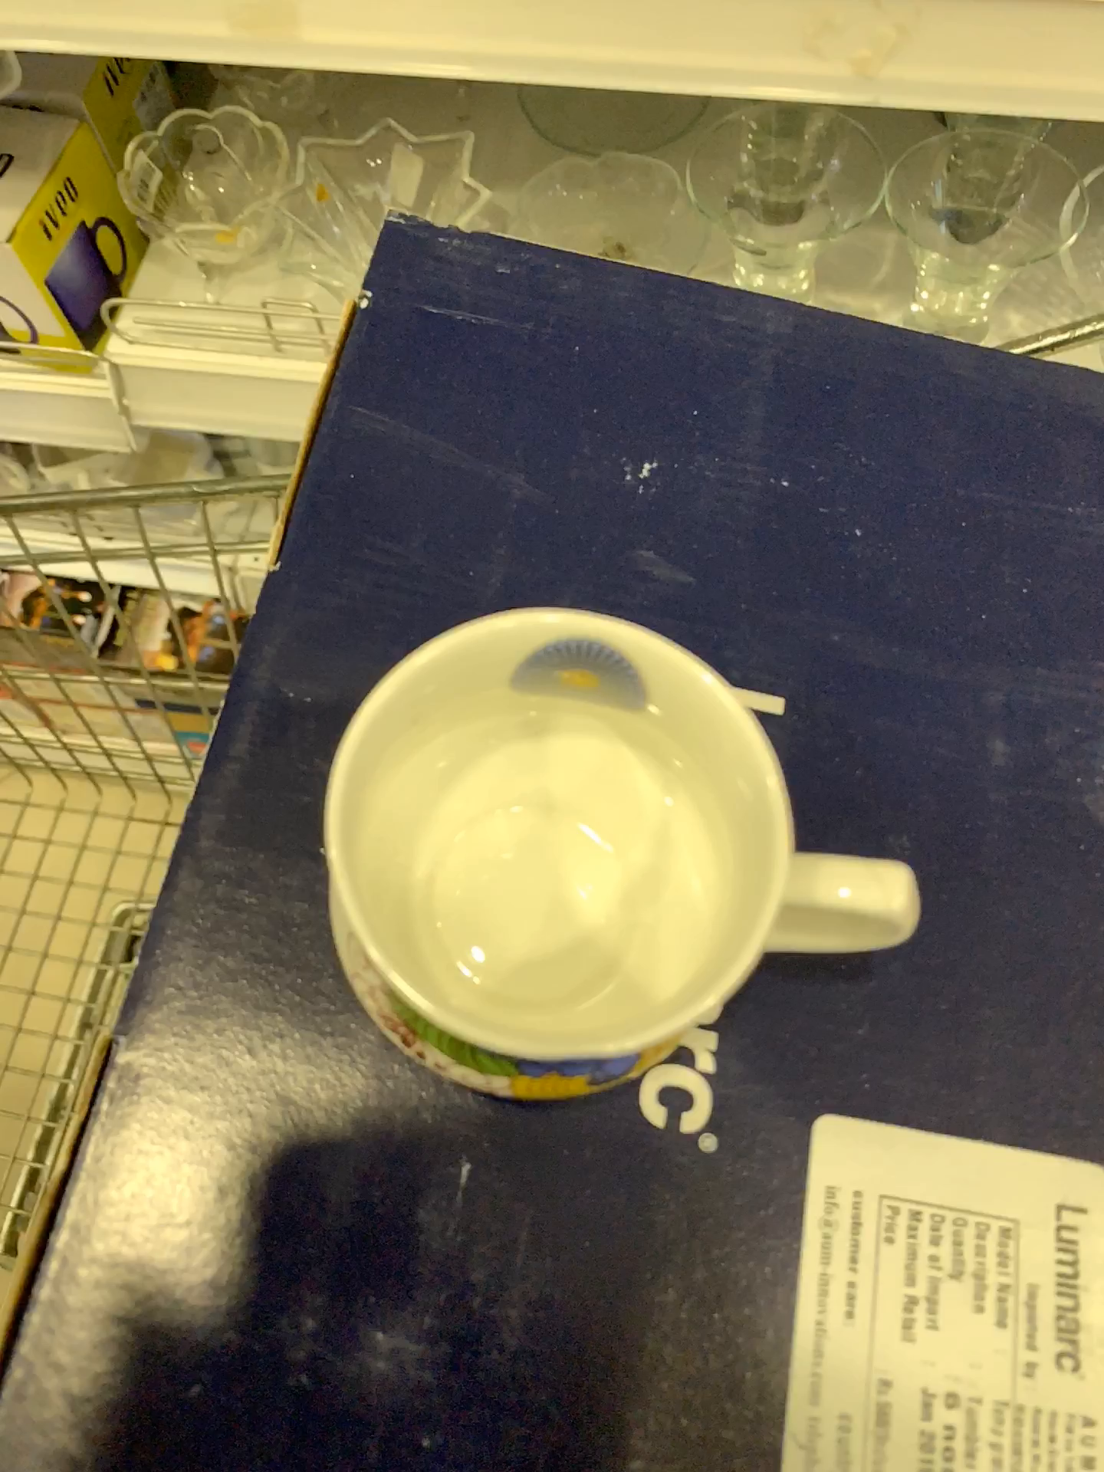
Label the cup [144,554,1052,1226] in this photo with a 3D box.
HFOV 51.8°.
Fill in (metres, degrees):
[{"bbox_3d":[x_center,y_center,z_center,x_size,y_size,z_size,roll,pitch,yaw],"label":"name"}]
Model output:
[{"bbox_3d":[0.008,0.022,0.146,0.090,0.050,0.060,9,68,1],"label":"cup"}]
